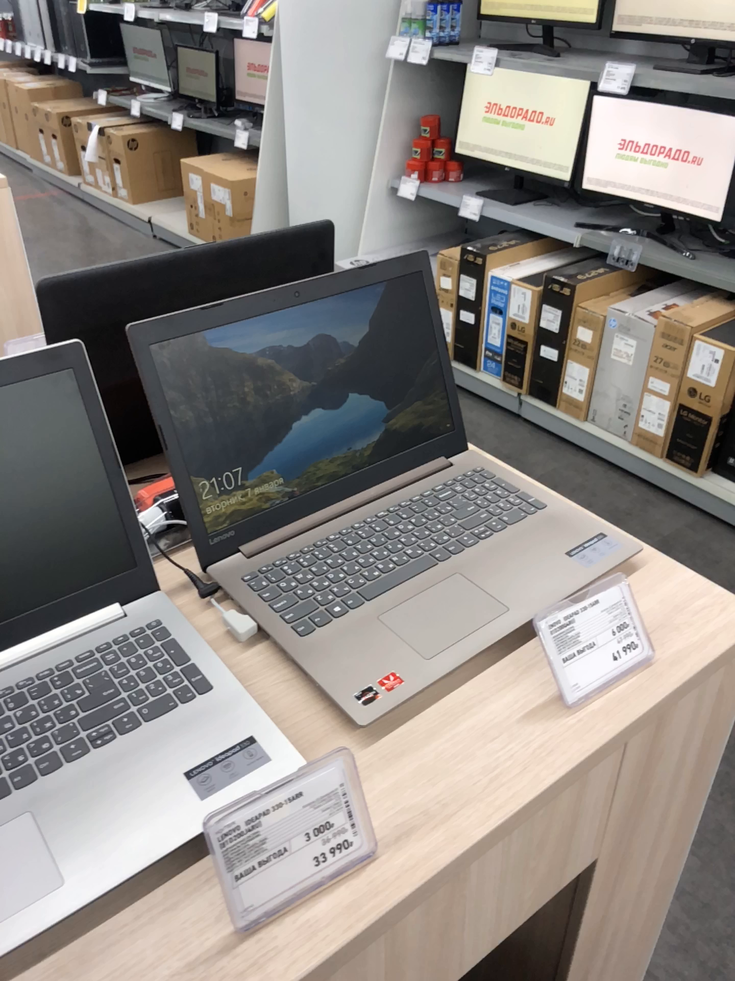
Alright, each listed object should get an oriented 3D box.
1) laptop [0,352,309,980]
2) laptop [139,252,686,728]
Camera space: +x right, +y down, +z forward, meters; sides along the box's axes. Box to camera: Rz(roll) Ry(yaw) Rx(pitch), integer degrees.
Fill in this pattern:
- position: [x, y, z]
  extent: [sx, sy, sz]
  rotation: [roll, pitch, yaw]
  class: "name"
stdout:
- position: [-0.283, 0.093, 0.540]
  extent: [0.343, 0.207, 0.323]
  rotation: [-23, 40, -33]
  class: "laptop"
- position: [0.033, -0.042, 0.760]
  extent: [0.351, 0.209, 0.329]
  rotation: [-24, 41, -31]
  class: "laptop"
